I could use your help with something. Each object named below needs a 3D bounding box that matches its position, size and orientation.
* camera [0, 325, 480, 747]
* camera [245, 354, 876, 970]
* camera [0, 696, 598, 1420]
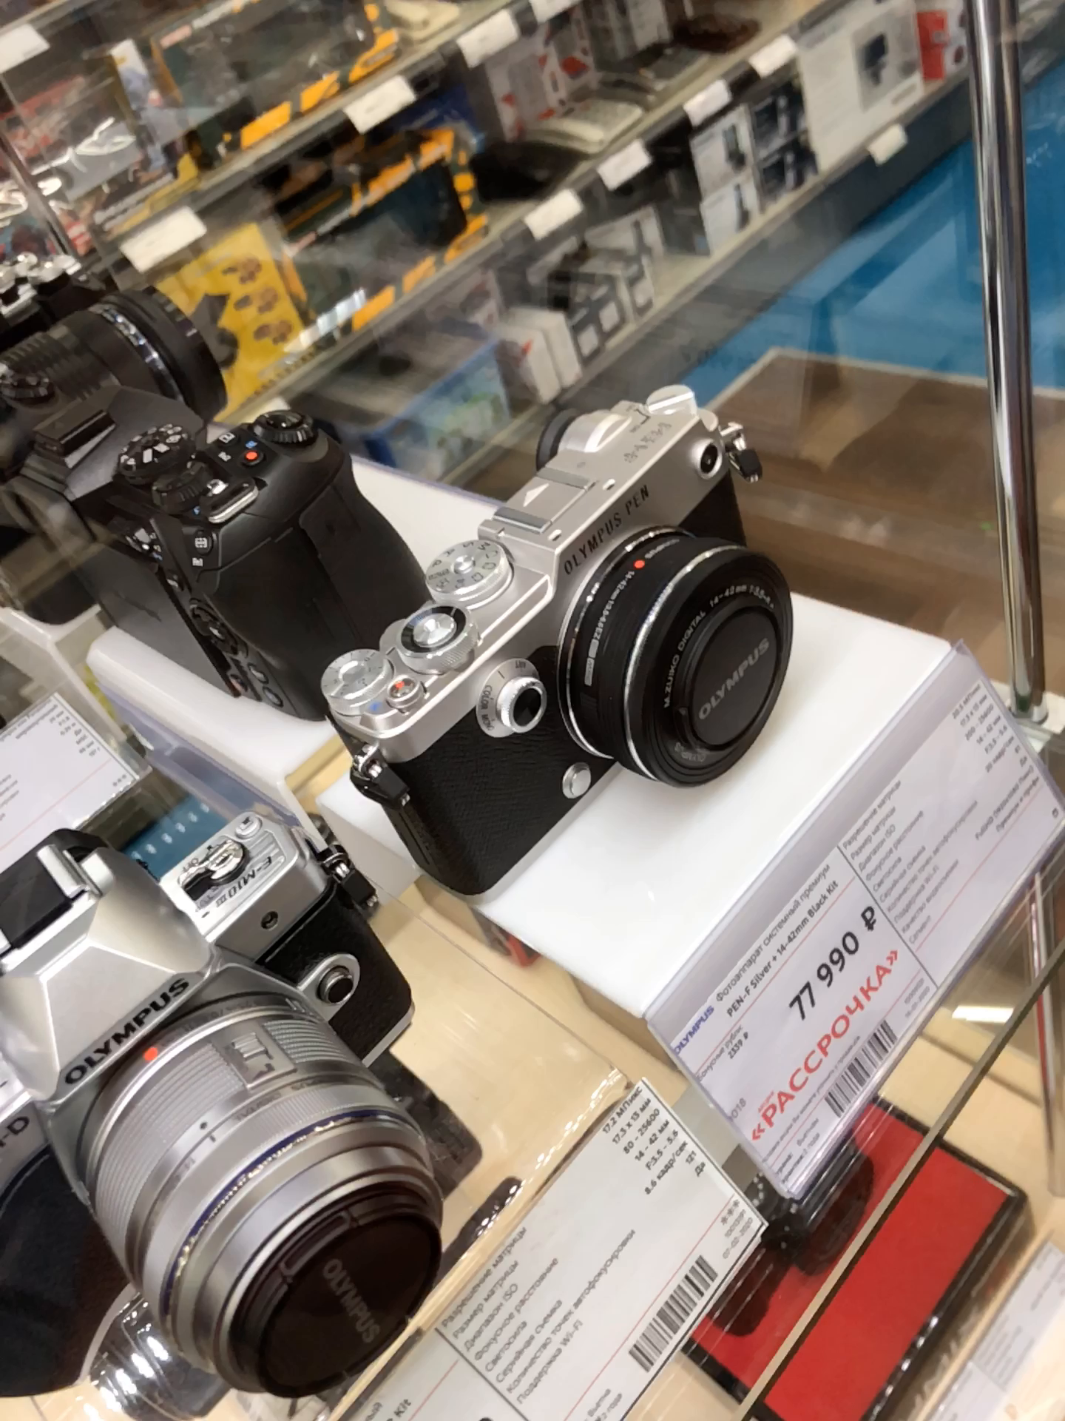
[{"bbox_3d":[-0.099,-0.062,0.378,0.128,0.075,0.084,24,58,41],"label":"camera"},{"bbox_3d":[0.013,-0.019,0.292,0.076,0.070,0.127,23,58,41],"label":"camera"},{"bbox_3d":[-0.074,0.079,0.228,0.099,0.075,0.127,25,59,42],"label":"camera"}]
